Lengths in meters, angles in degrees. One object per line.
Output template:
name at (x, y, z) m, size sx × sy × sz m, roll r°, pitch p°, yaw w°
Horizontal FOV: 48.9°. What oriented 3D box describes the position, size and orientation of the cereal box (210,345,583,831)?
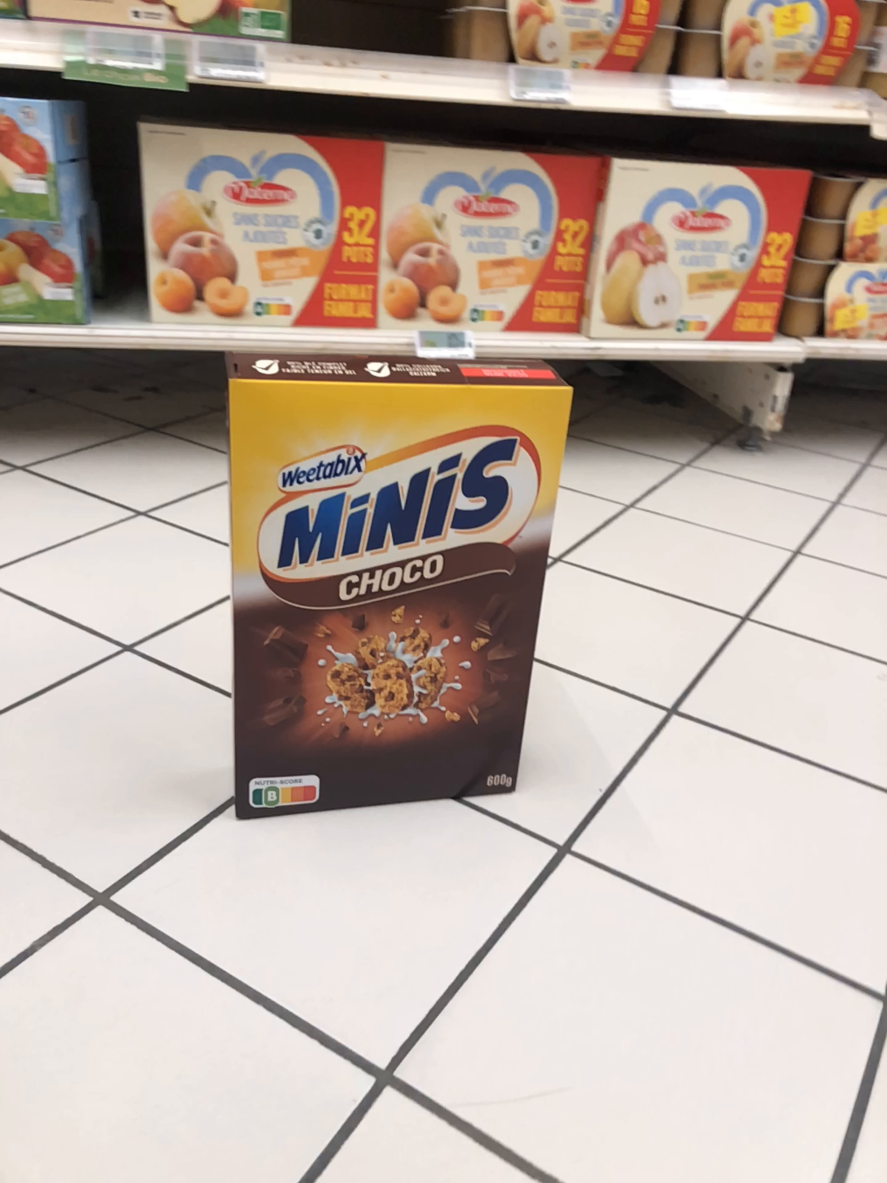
cereal box at (-0.040, 0.001, 0.616) m, size 0.200 × 0.288 × 0.080 m, roll -2°, pitch 27°, yaw -14°
